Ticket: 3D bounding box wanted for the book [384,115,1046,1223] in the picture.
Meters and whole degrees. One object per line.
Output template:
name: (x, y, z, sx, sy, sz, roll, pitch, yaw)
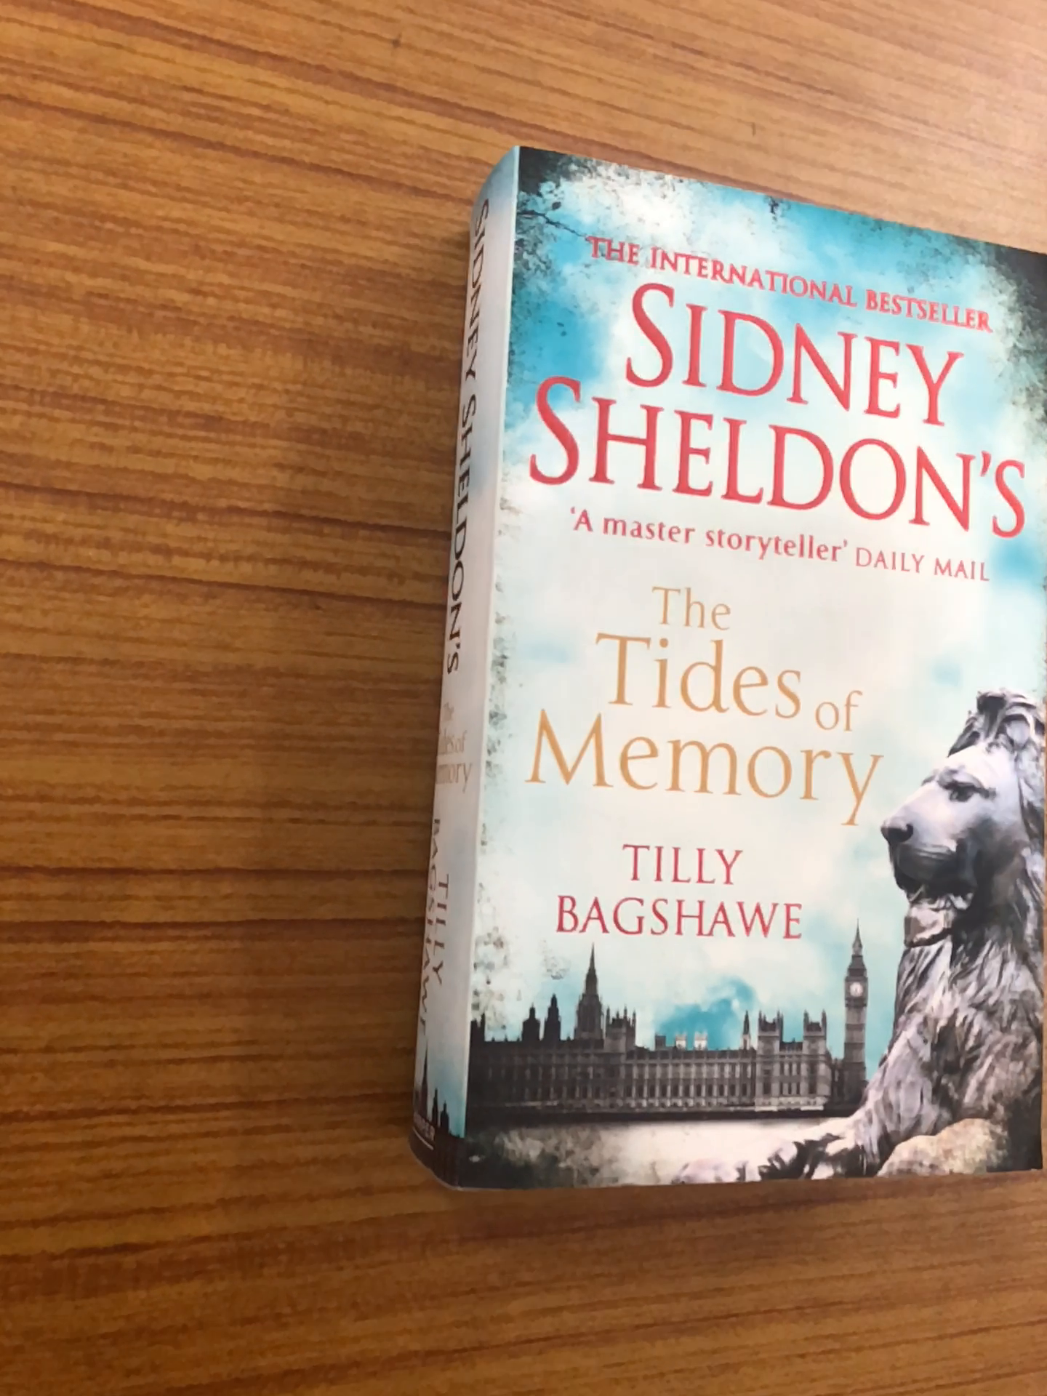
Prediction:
book: (0.045, -0.001, 0.211, 0.122, 0.037, 0.168, 5, 84, -16)
